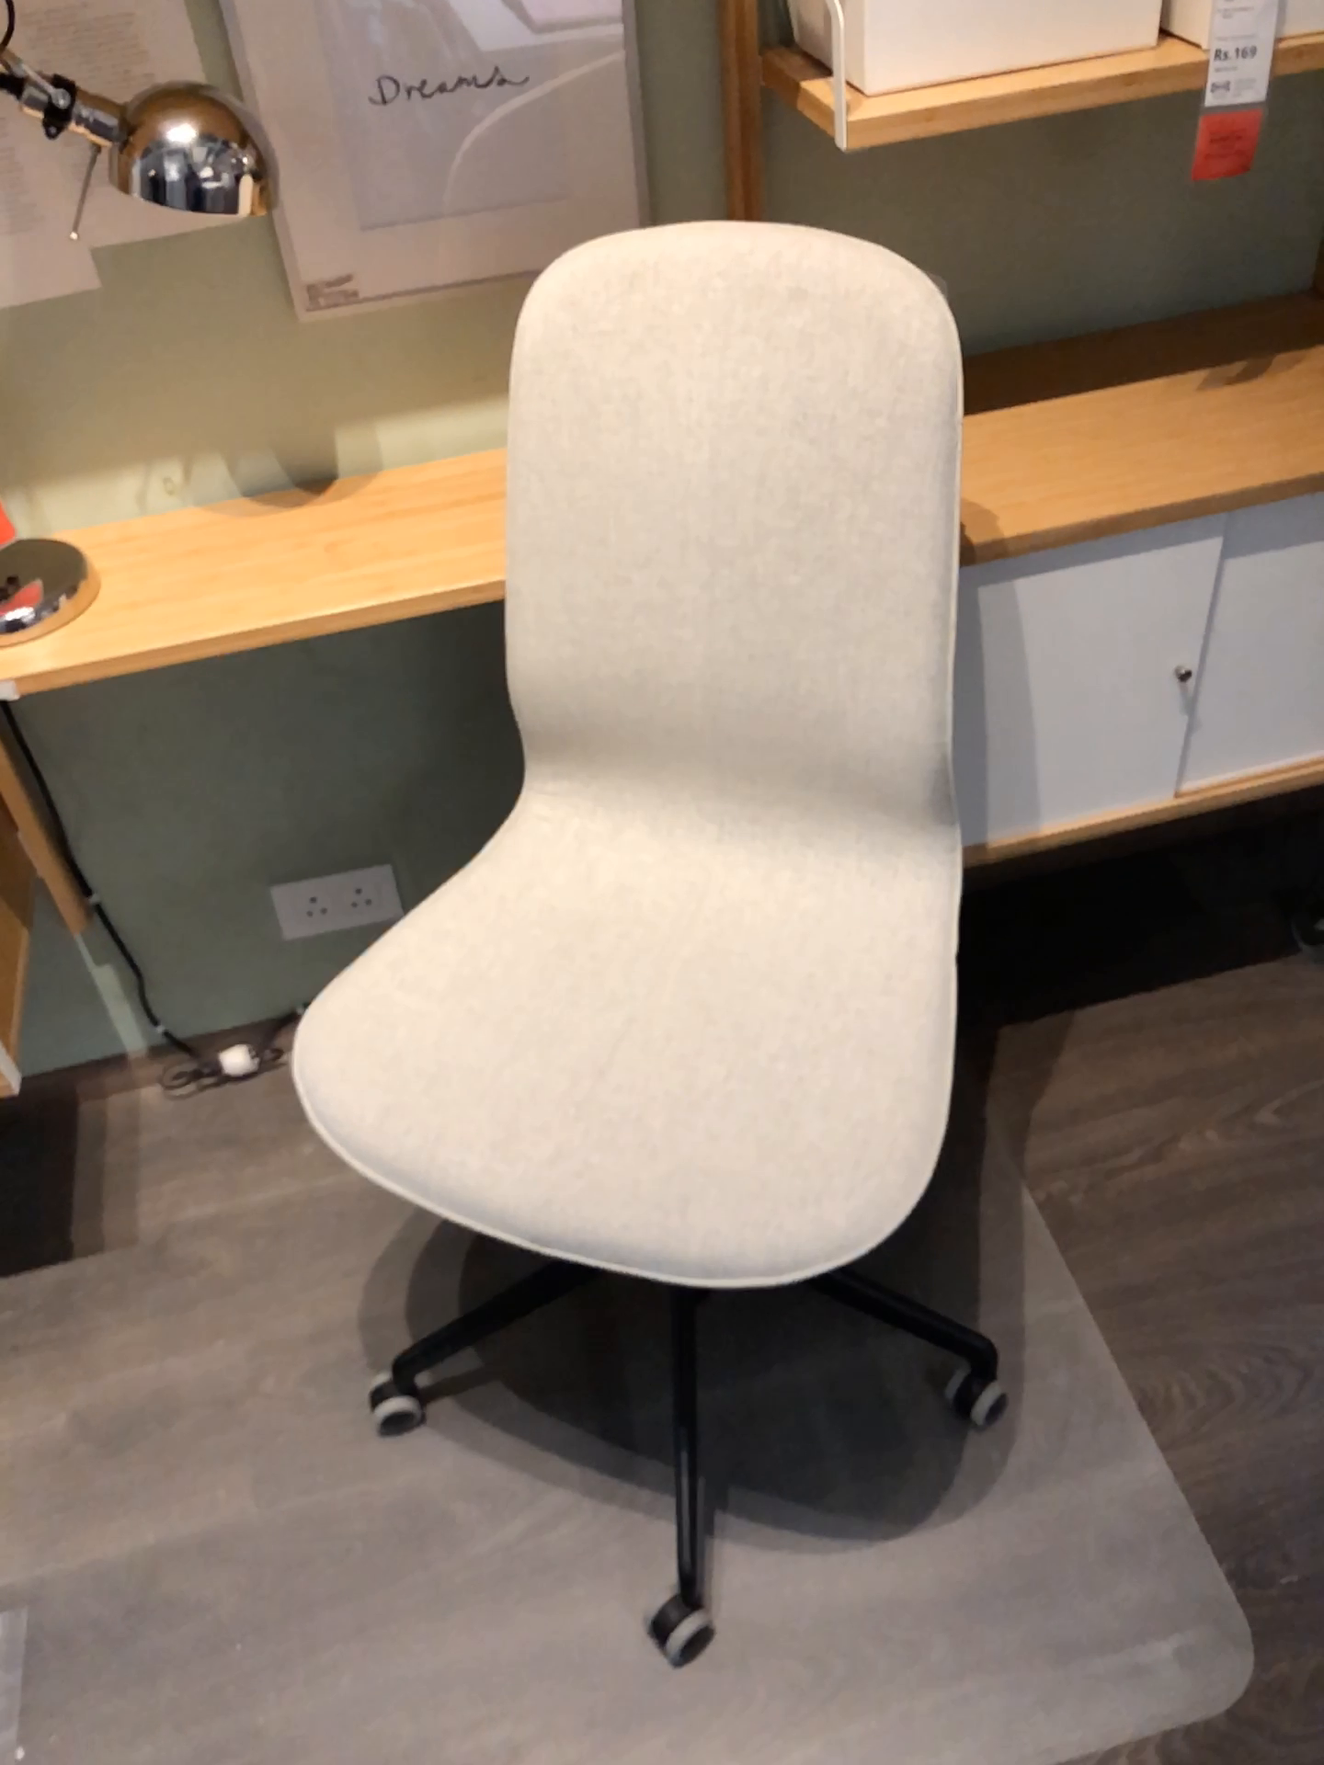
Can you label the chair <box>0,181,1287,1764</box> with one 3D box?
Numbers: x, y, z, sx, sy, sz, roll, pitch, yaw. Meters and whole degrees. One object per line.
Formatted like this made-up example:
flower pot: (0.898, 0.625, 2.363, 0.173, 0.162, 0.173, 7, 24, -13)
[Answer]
chair: (0.013, 0.063, 1.114, 0.621, 0.904, 0.653, 14, 45, 22)
